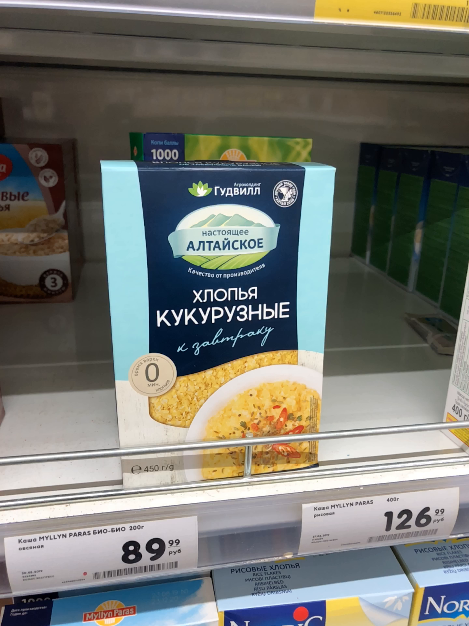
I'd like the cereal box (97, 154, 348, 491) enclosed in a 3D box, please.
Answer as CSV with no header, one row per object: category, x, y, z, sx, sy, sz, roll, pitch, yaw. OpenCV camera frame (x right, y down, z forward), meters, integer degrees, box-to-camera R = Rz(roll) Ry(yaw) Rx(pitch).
cereal box,-0.011,0.003,0.322,0.130,0.189,0.060,-3,19,-12
